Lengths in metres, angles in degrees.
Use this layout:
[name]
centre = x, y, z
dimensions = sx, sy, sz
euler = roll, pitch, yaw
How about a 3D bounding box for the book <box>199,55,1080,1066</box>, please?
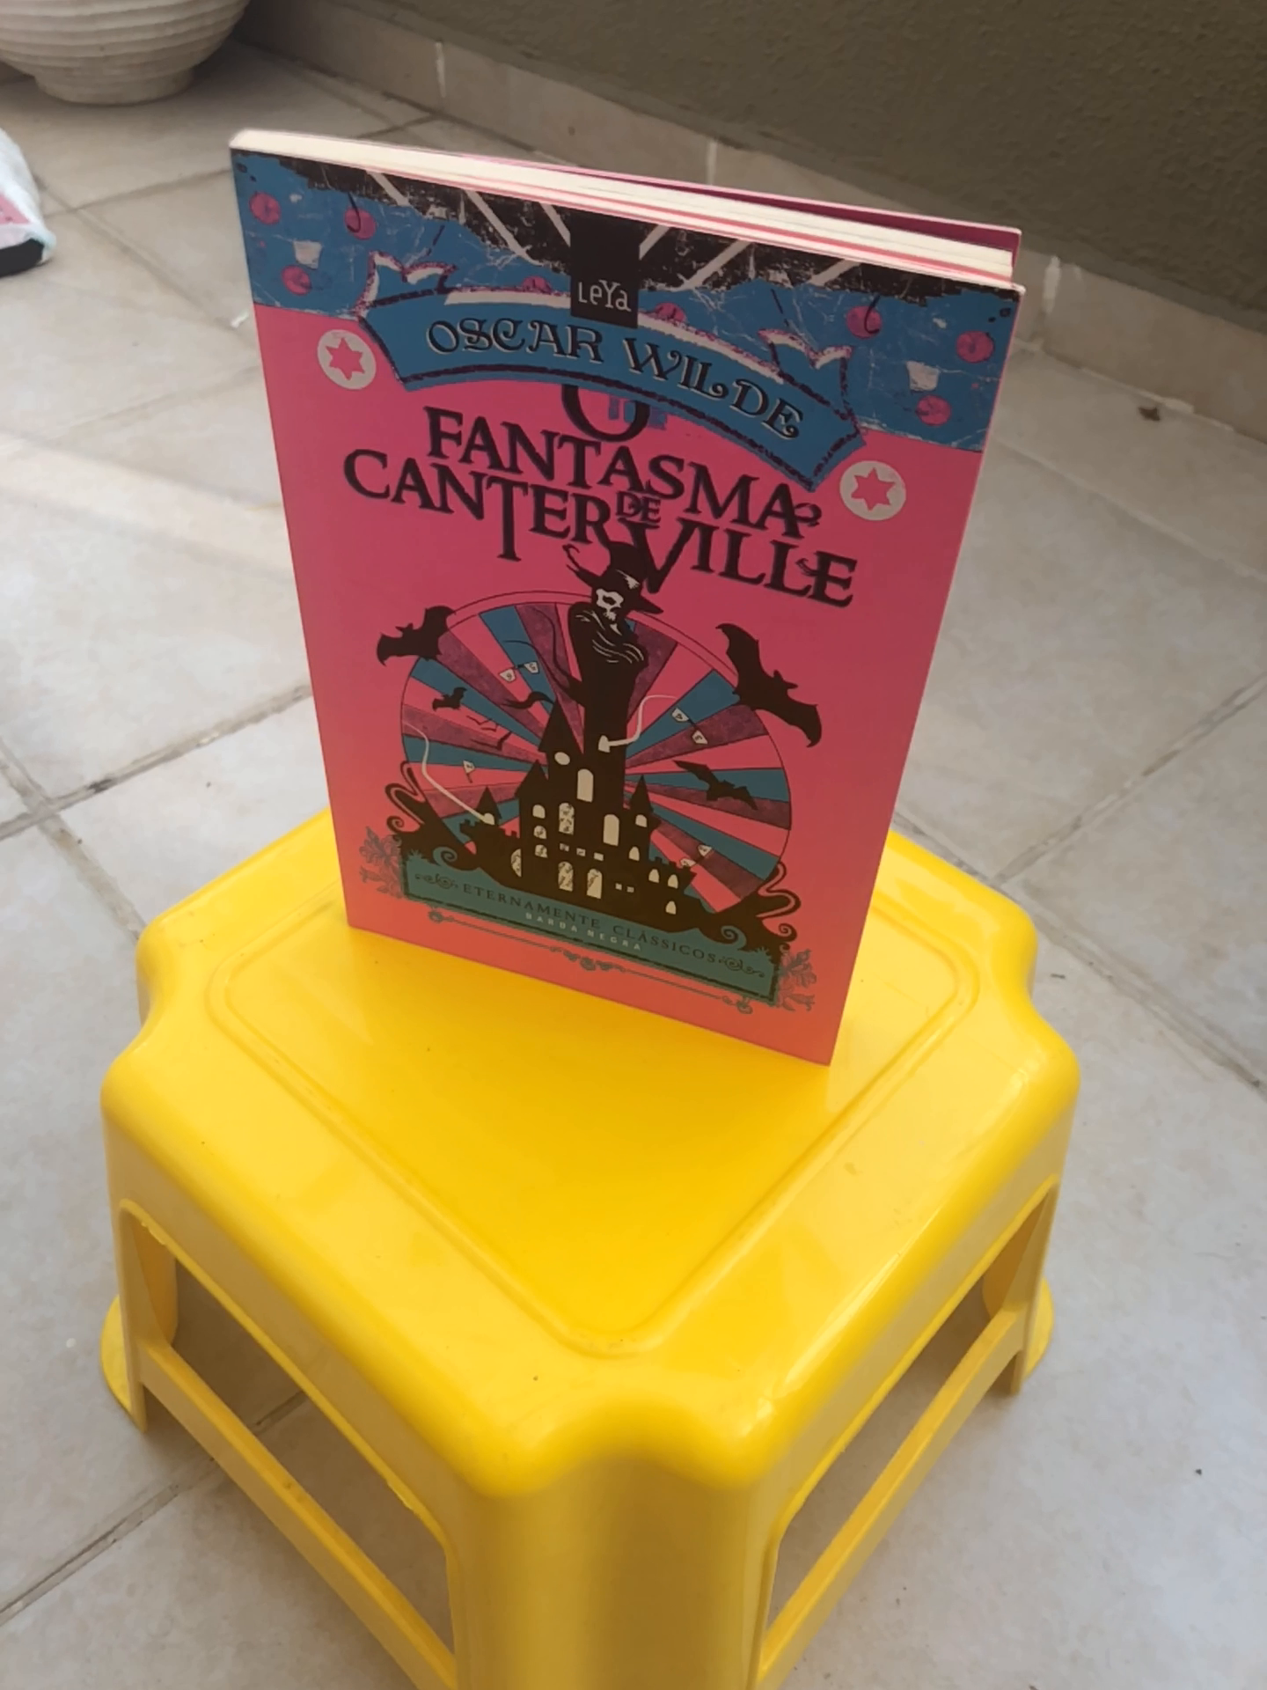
[book]
centre = -0.004, -0.044, 0.315
dimensions = 0.150, 0.218, 0.020
euler = 15, 47, 12
